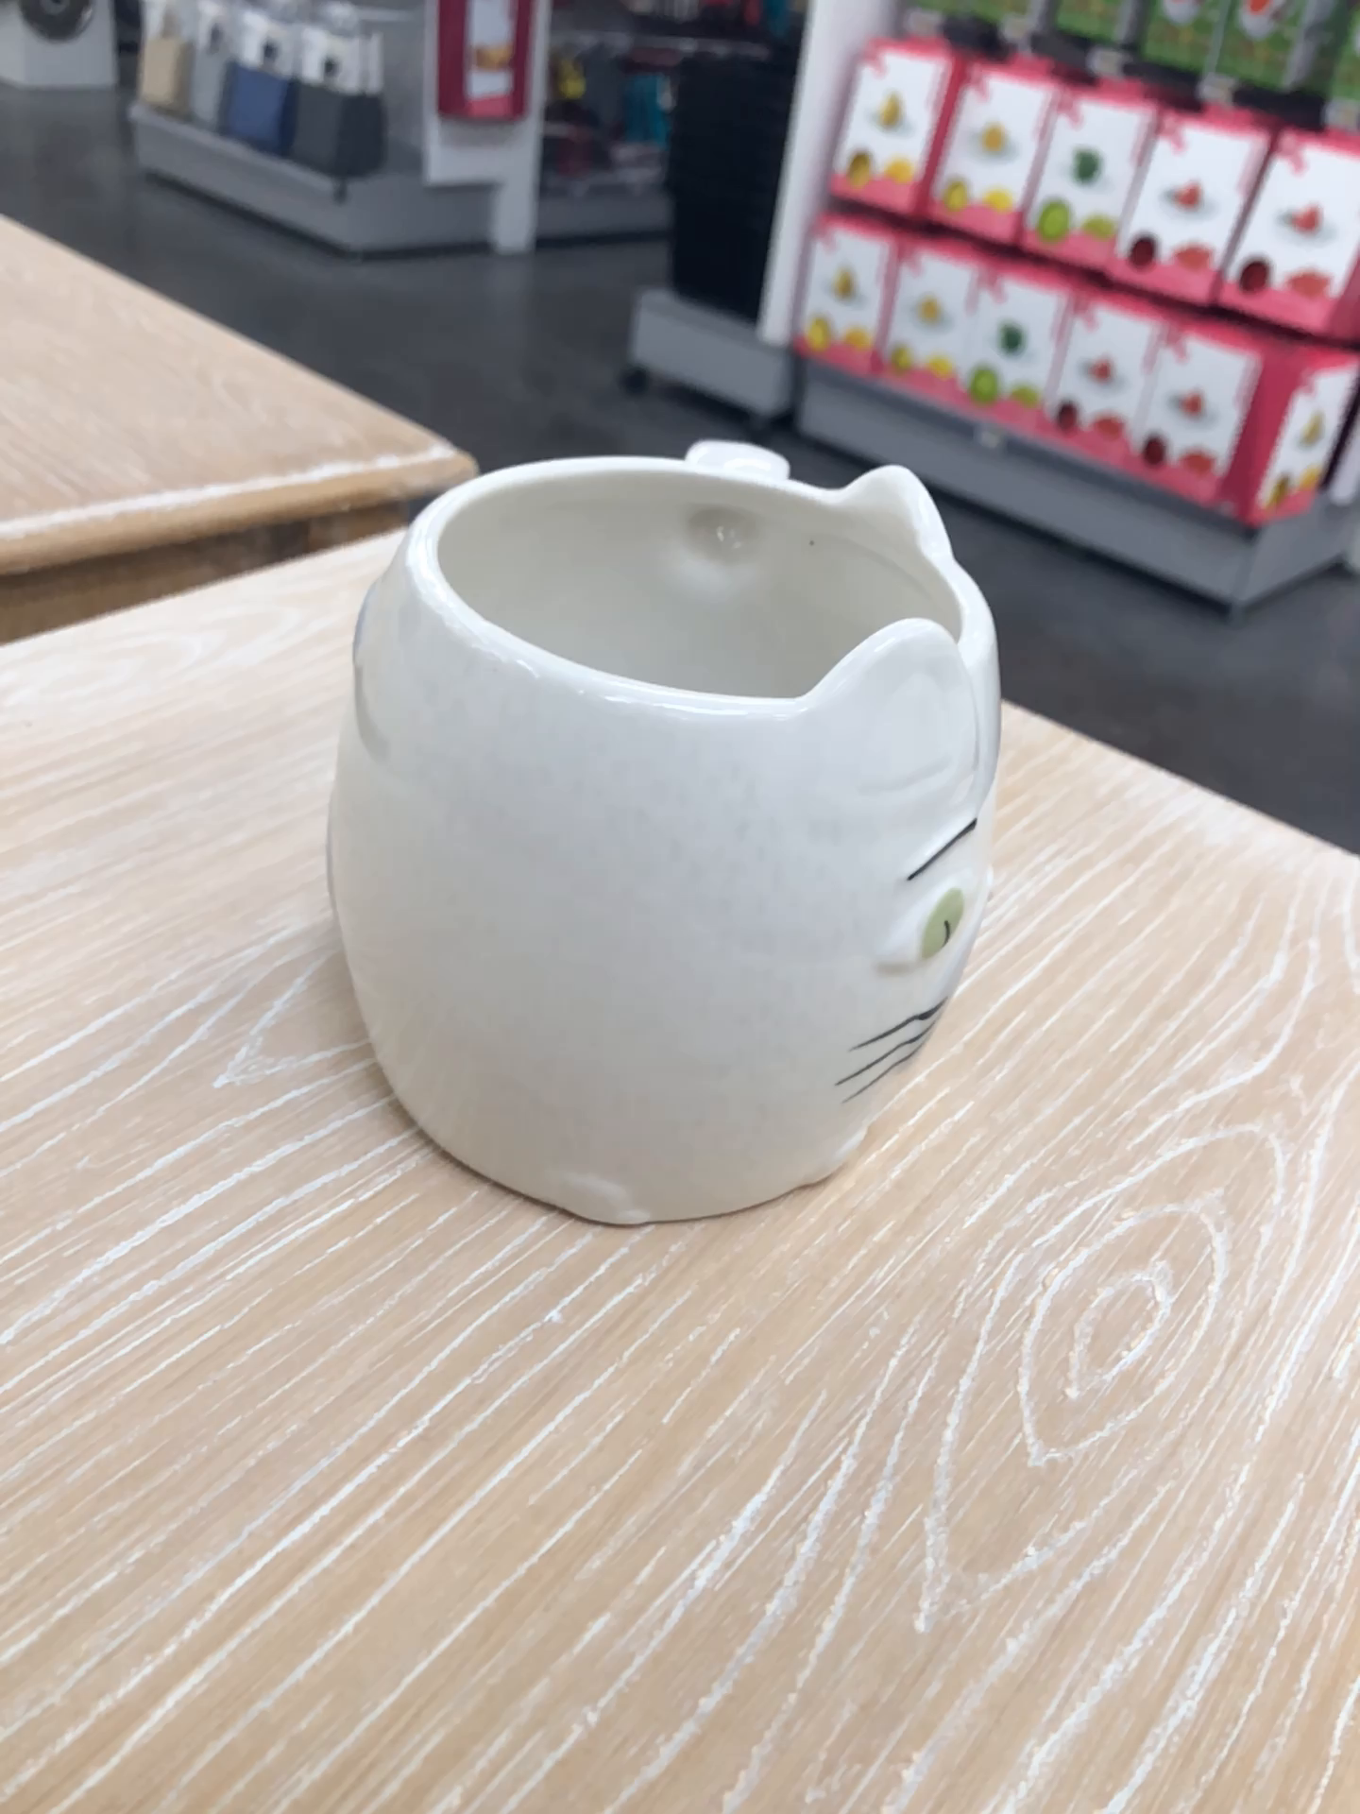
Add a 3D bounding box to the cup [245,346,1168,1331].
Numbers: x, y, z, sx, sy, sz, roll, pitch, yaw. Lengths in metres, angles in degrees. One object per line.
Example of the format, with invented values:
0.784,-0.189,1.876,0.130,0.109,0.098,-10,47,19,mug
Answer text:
0.003,-0.020,0.227,0.091,0.073,0.125,14,34,-3,cup
